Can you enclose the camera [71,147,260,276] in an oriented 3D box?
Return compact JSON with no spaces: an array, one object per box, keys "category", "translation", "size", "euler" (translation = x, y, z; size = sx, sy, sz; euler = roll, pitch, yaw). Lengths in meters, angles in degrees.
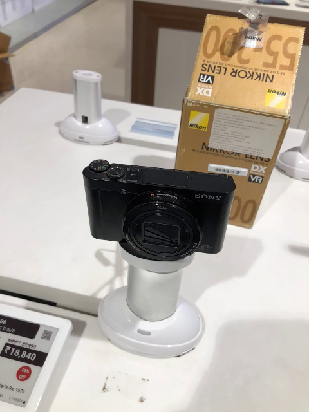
[{"category":"camera","translation":[0.005,0.005,0.232],"size":[0.110,0.070,0.030],"euler":[8,41,4]}]
